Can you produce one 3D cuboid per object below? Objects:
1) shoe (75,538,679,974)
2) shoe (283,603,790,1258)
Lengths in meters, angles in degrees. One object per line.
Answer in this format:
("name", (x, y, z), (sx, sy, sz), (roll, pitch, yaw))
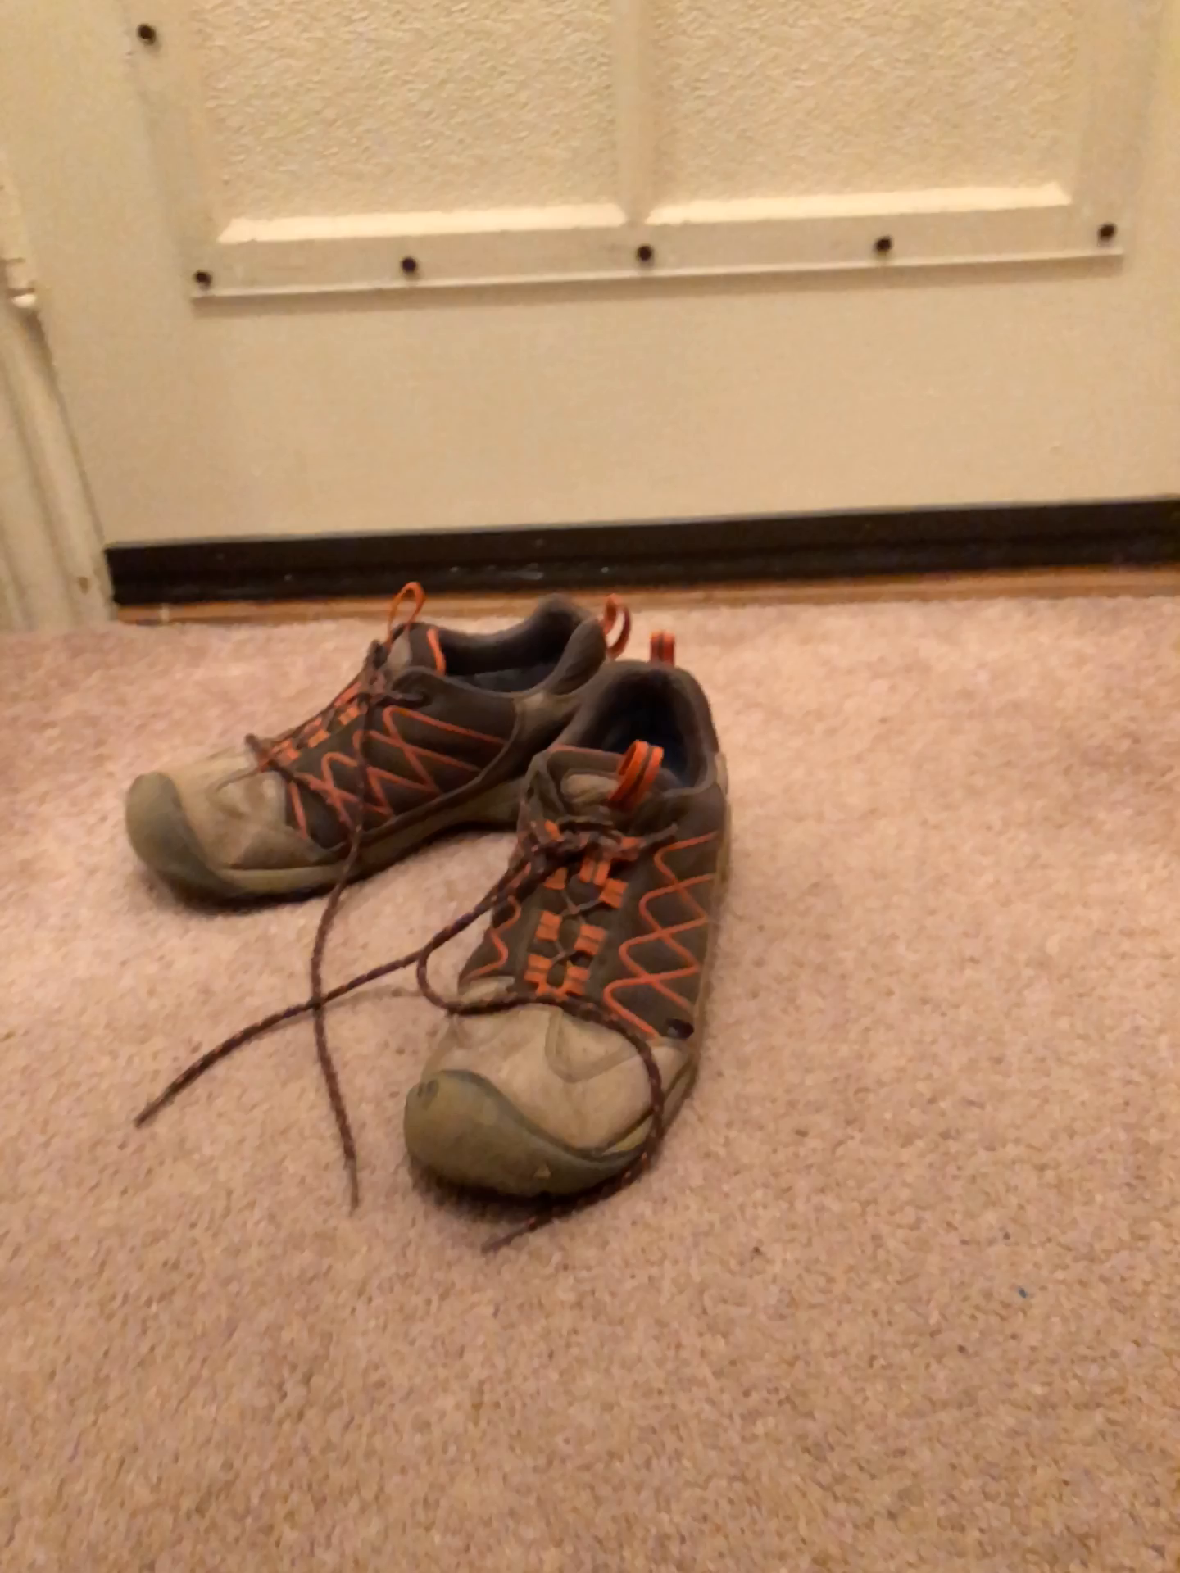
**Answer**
("shoe", (-0.112, -0.026, 0.738), (0.300, 0.129, 0.121), (-16, 37, -18))
("shoe", (-0.003, 0.044, 0.588), (0.120, 0.129, 0.271), (10, 37, 18))
